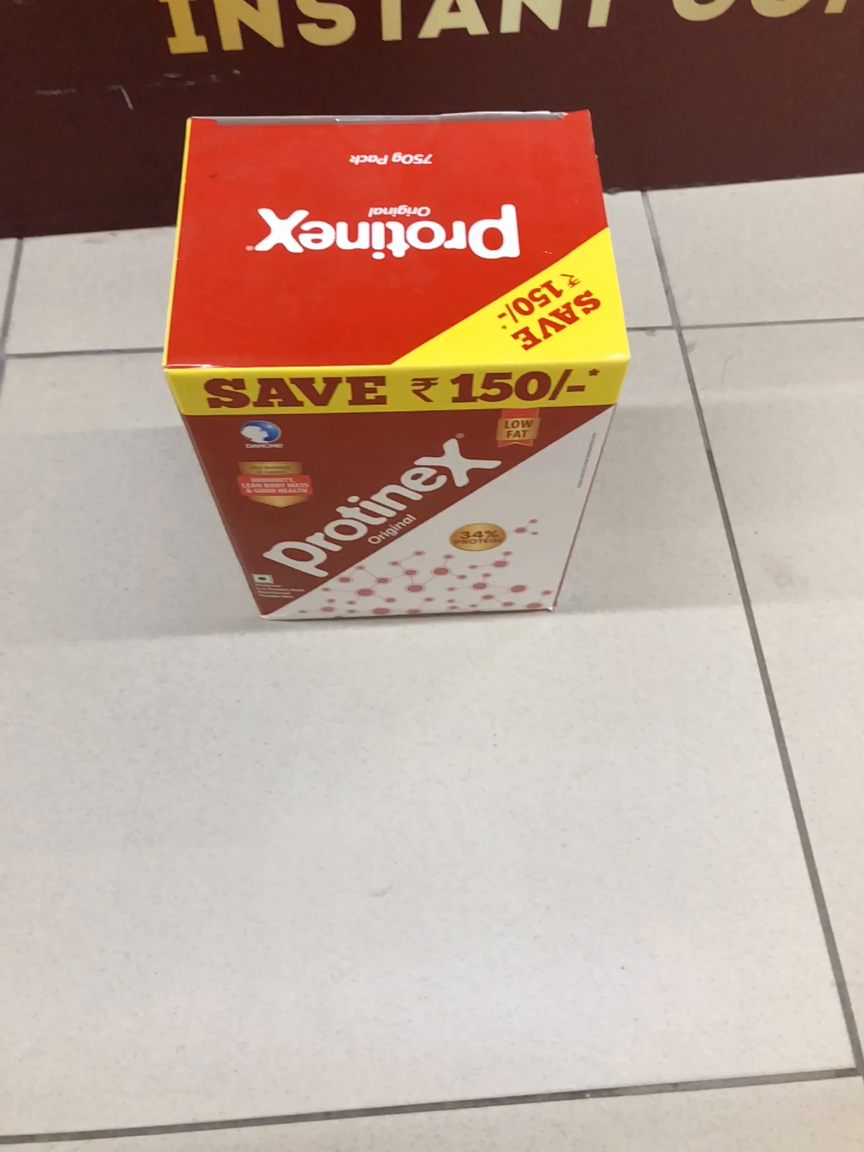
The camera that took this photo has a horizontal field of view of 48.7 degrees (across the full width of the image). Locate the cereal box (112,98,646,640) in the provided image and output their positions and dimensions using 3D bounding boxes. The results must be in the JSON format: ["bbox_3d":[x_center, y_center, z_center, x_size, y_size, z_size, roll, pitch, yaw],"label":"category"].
[{"bbox_3d":[-0.020,-0.071,0.402,0.160,0.199,0.121,-2,63,-3],"label":"cereal box"}]
